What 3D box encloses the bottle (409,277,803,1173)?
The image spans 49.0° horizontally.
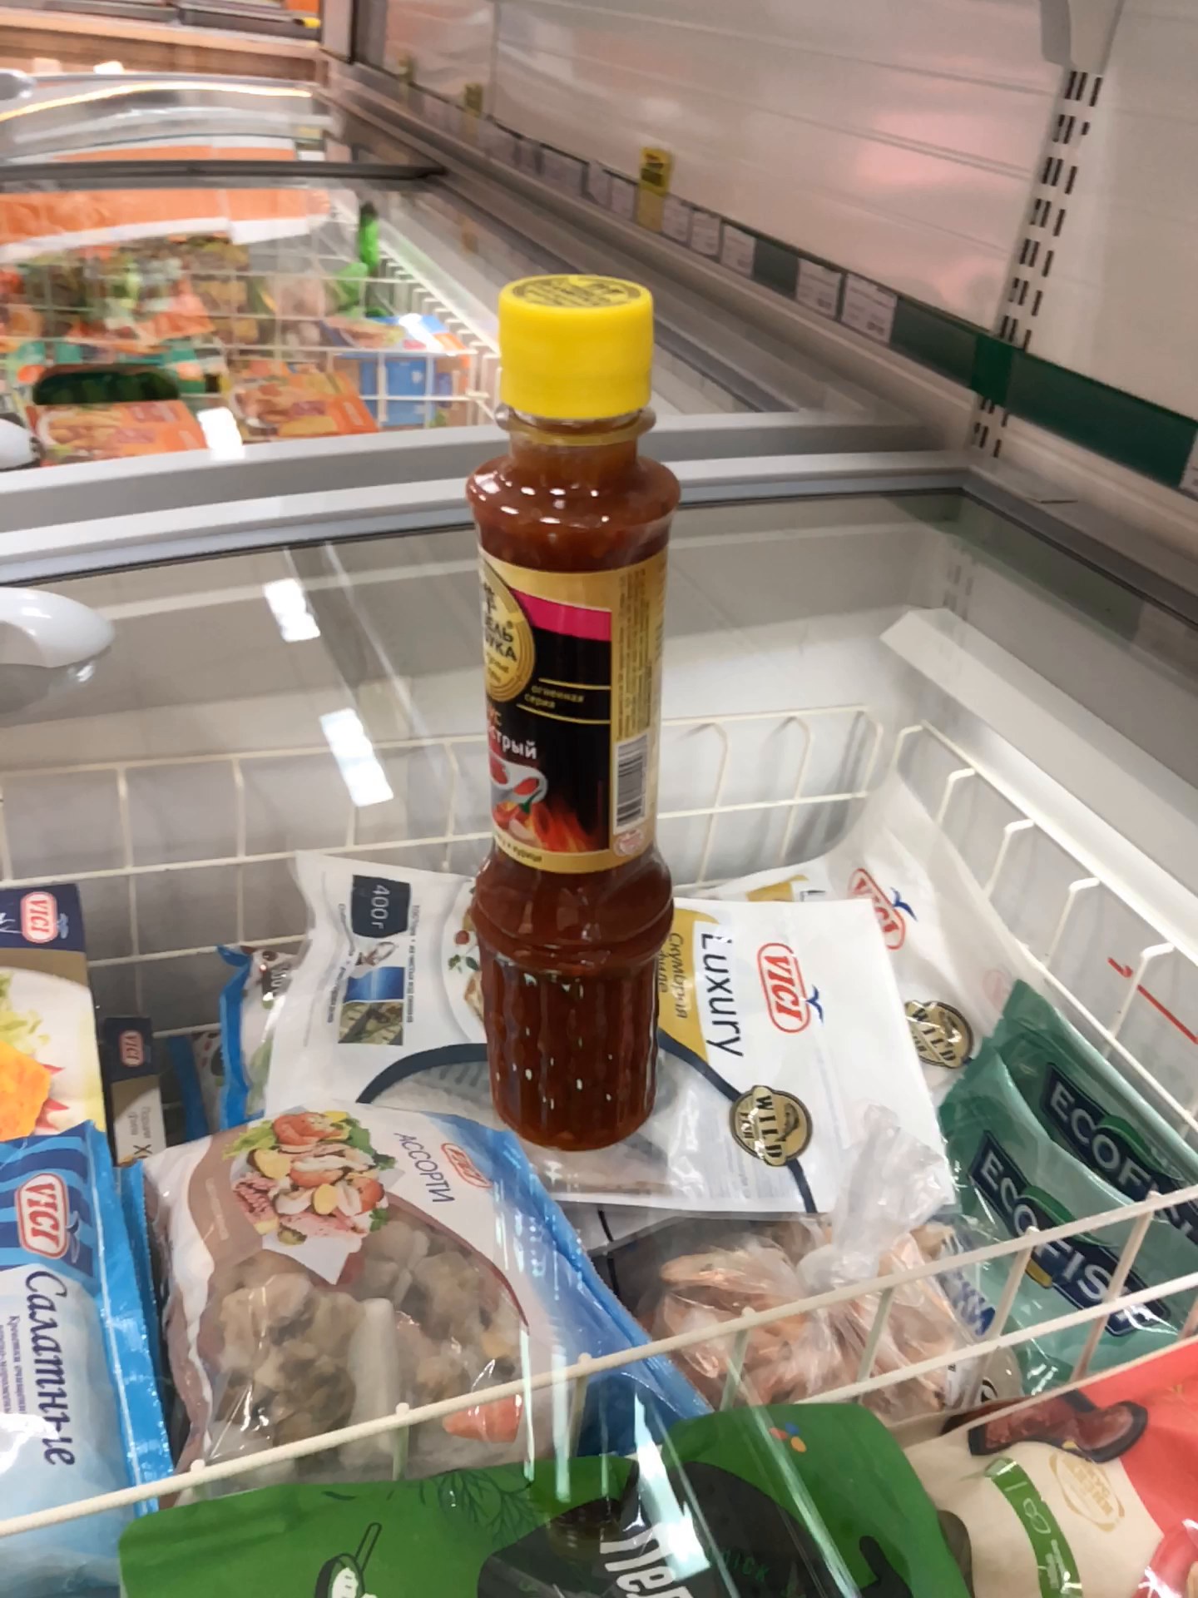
[{"bbox_3d":[-0.006,-0.011,0.309,0.060,0.199,0.060,2,32,-1],"label":"bottle"}]
